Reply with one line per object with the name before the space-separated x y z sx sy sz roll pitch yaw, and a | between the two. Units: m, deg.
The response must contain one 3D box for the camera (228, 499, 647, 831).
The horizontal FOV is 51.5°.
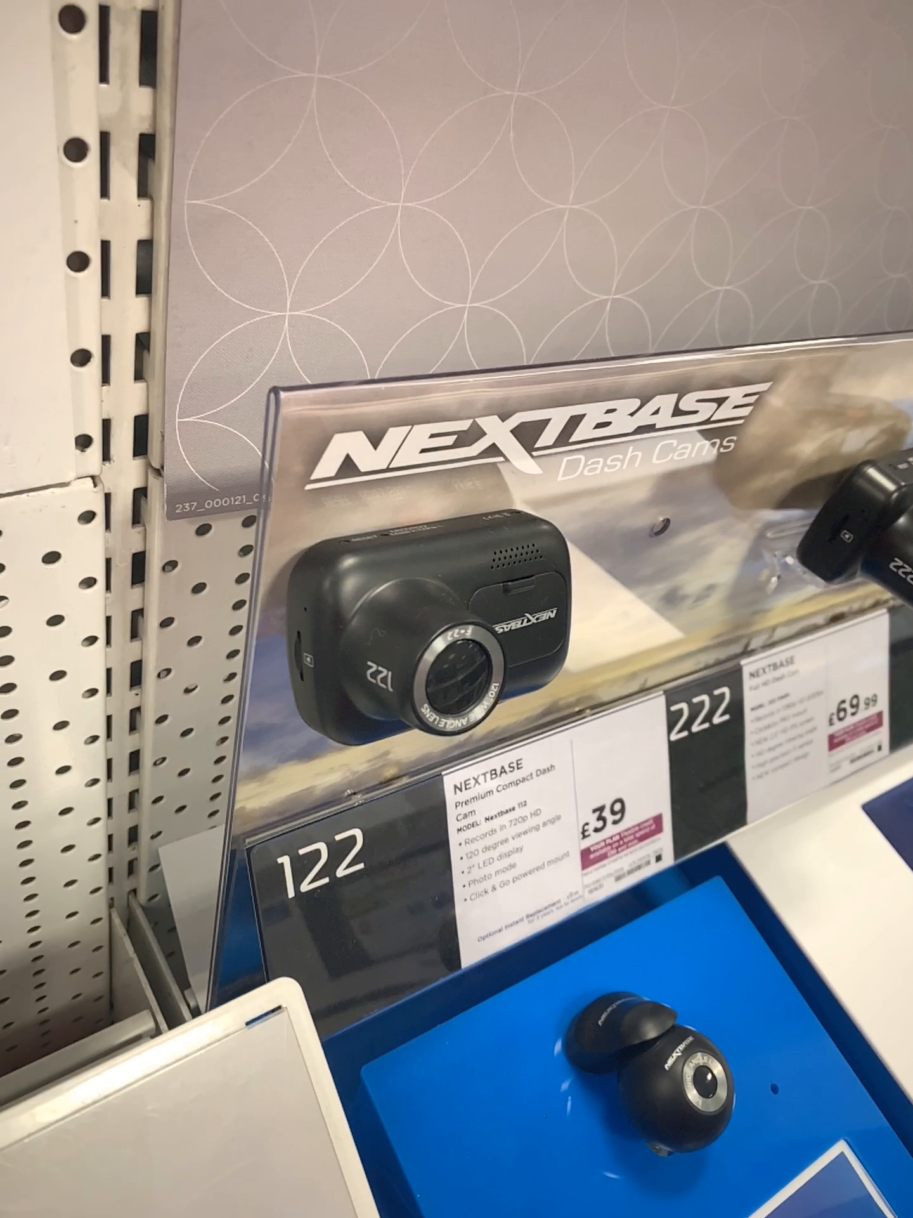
camera | -0.005 0.007 0.232 0.080 0.050 0.060 -12 20 -30
